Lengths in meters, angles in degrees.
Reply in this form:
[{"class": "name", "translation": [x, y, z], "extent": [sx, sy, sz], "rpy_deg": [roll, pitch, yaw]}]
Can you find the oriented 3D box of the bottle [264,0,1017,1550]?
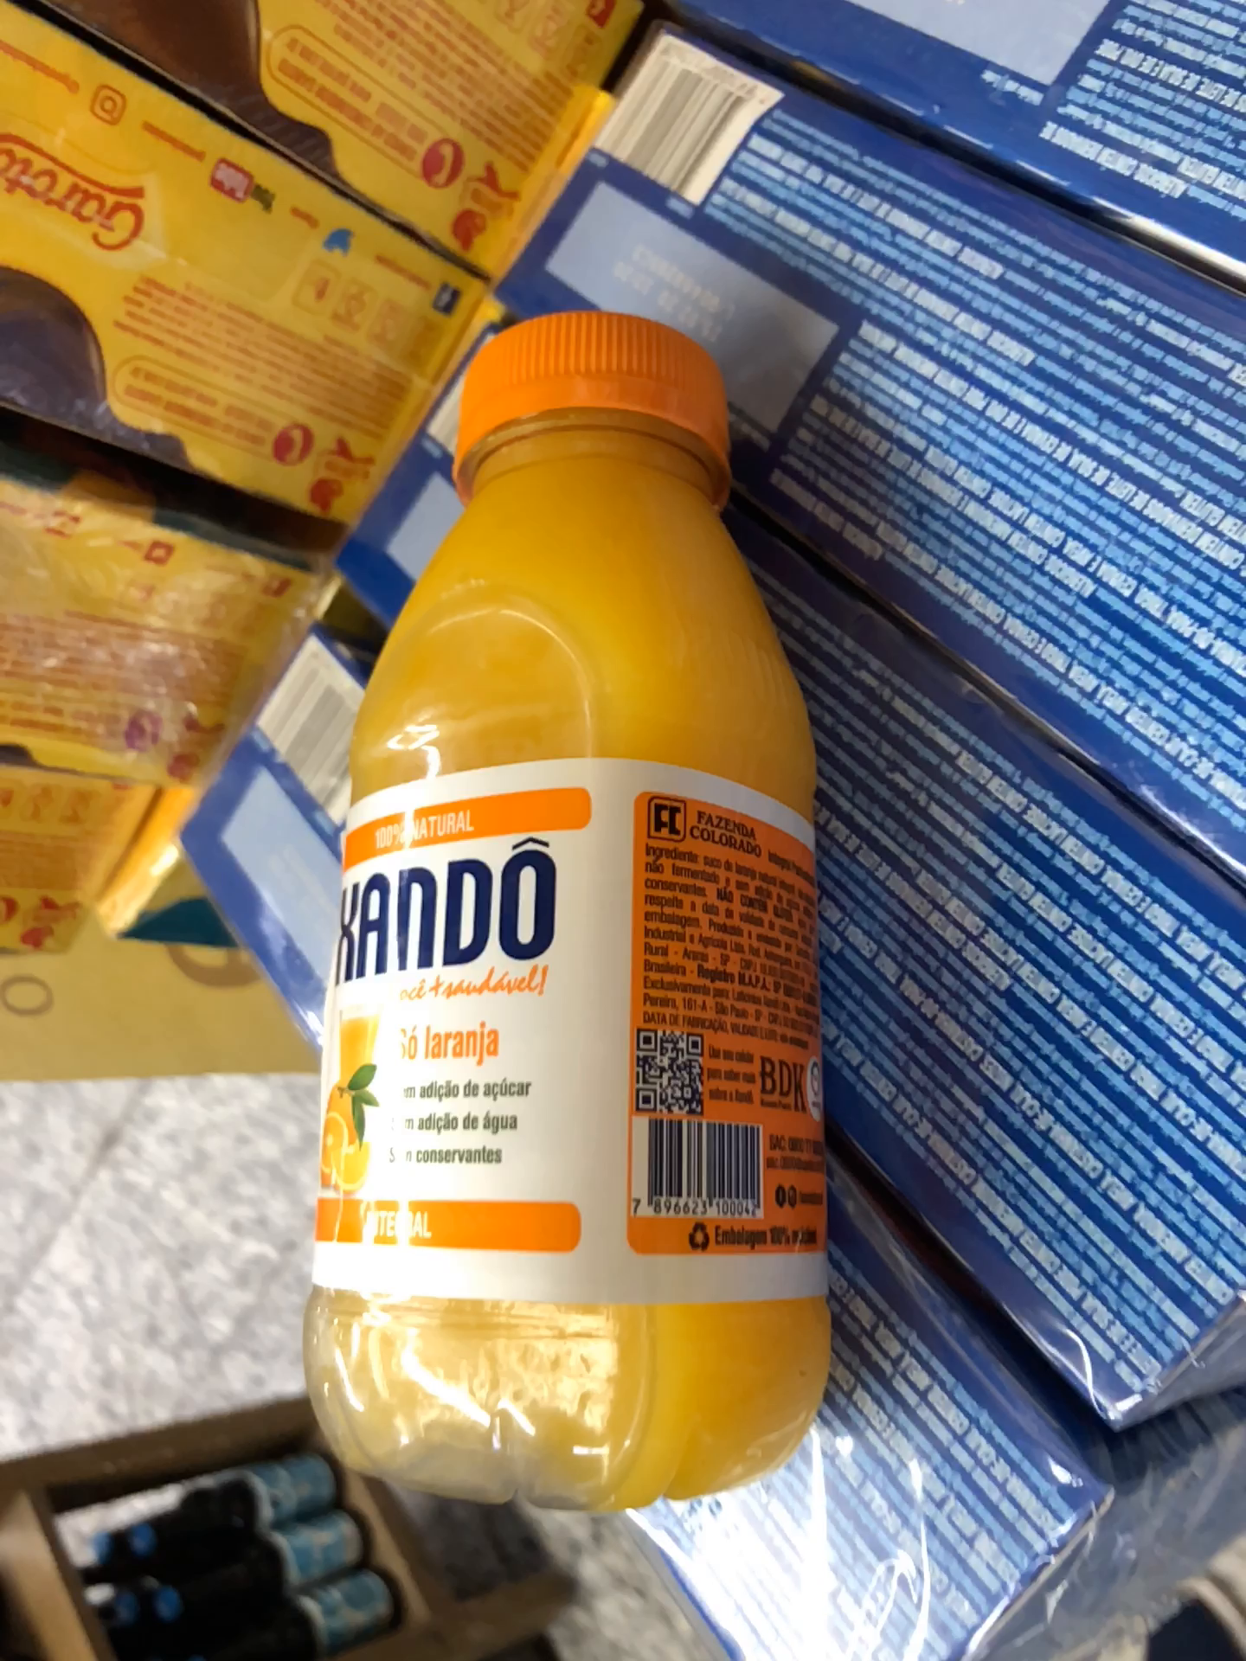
[{"class": "bottle", "translation": [0.004, -0.006, 0.197], "extent": [0.060, 0.080, 0.170], "rpy_deg": [-11, 74, 36]}]
